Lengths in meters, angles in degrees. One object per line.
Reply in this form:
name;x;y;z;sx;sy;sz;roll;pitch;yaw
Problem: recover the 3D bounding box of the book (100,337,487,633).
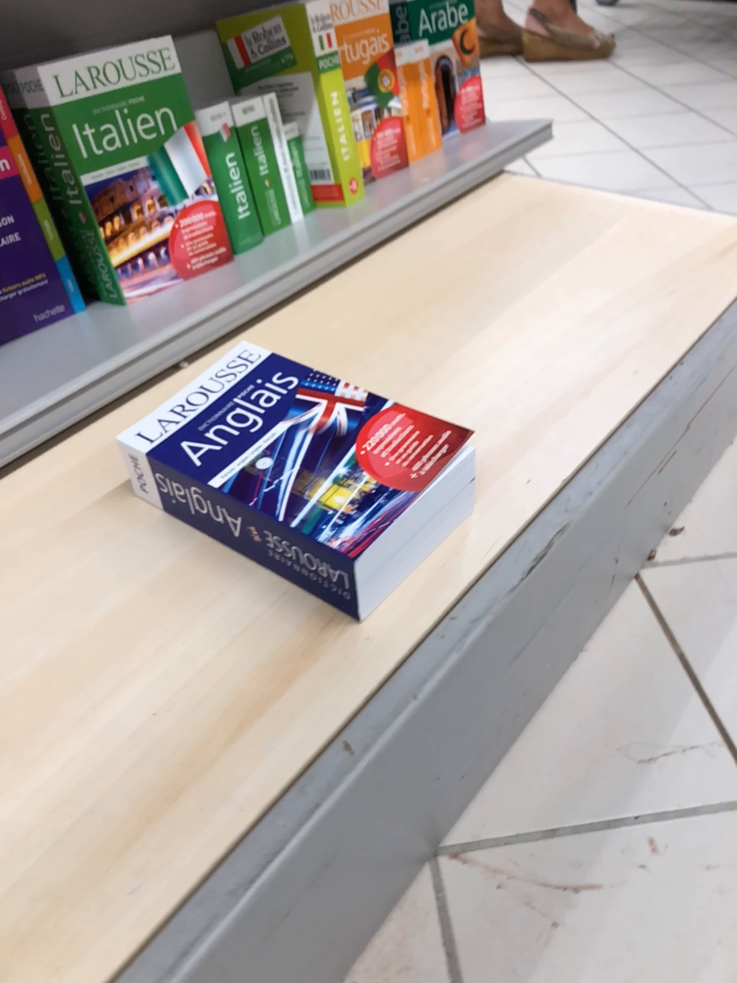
book;-0.042;-0.015;0.465;0.181;0.054;0.118;25;46;29
